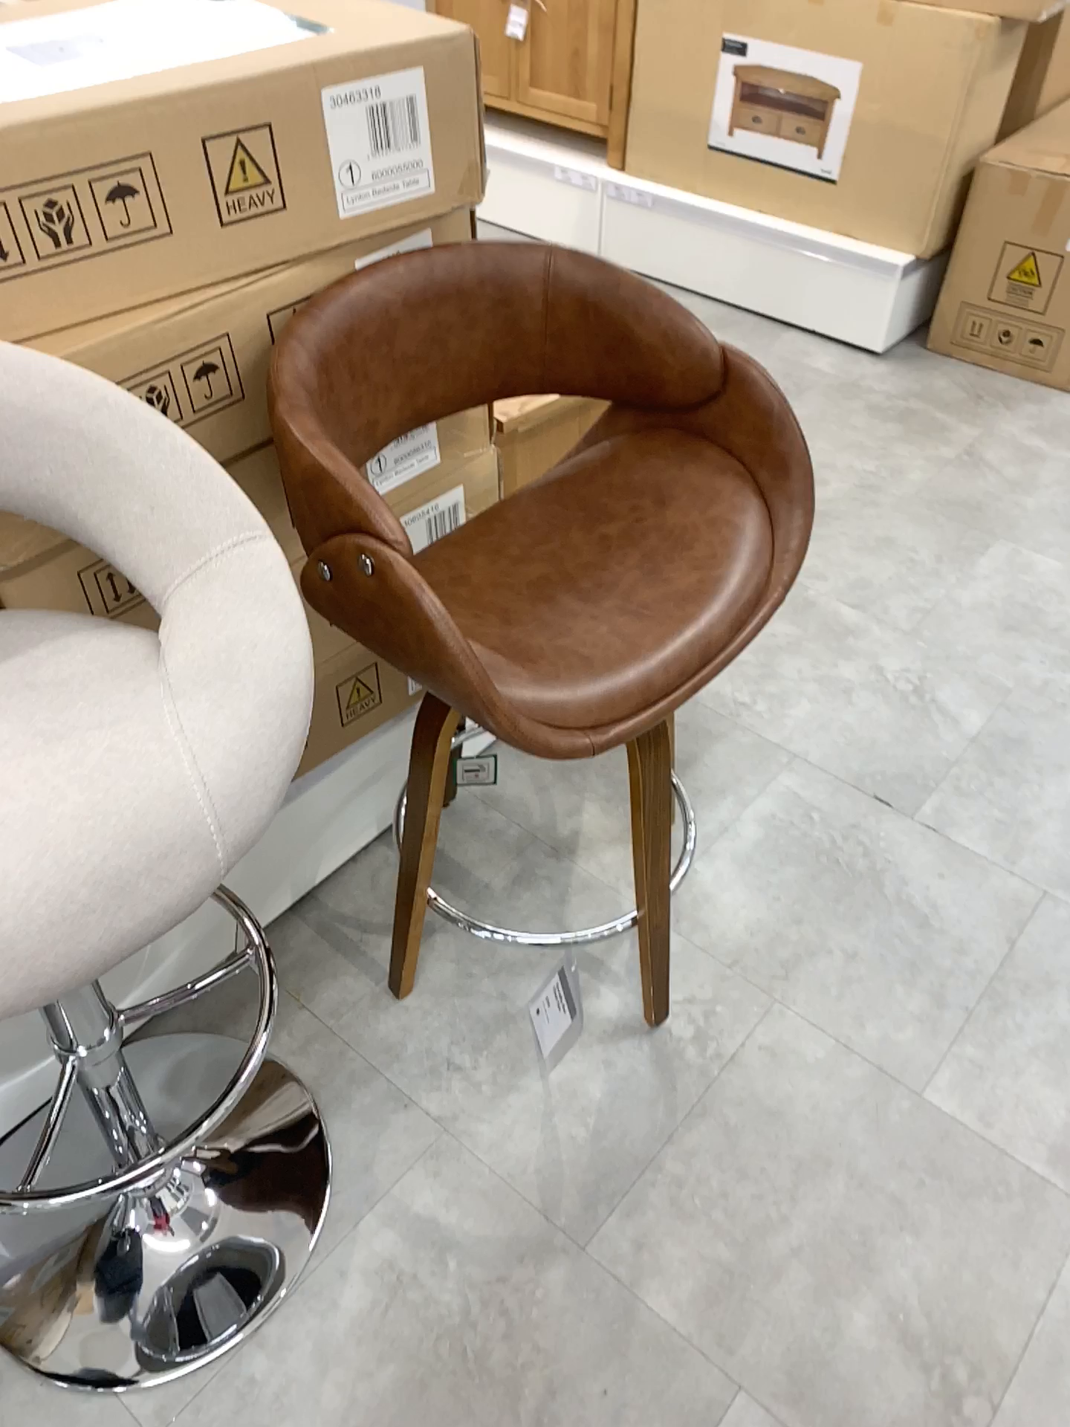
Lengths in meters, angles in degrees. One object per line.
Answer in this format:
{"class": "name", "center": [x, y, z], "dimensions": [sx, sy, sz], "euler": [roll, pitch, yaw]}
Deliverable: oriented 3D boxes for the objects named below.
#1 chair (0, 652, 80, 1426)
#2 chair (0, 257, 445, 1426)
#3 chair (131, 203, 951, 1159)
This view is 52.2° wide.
{"class": "chair", "center": [-0.734, 0.525, 0.635], "dimensions": [0.471, 0.886, 0.496], "euler": [29, 50, 26]}
{"class": "chair", "center": [-0.454, 0.214, 0.964], "dimensions": [0.521, 0.945, 0.496], "euler": [29, 50, 26]}
{"class": "chair", "center": [0.005, -0.036, 1.317], "dimensions": [0.552, 0.846, 0.547], "euler": [32, 51, 28]}
